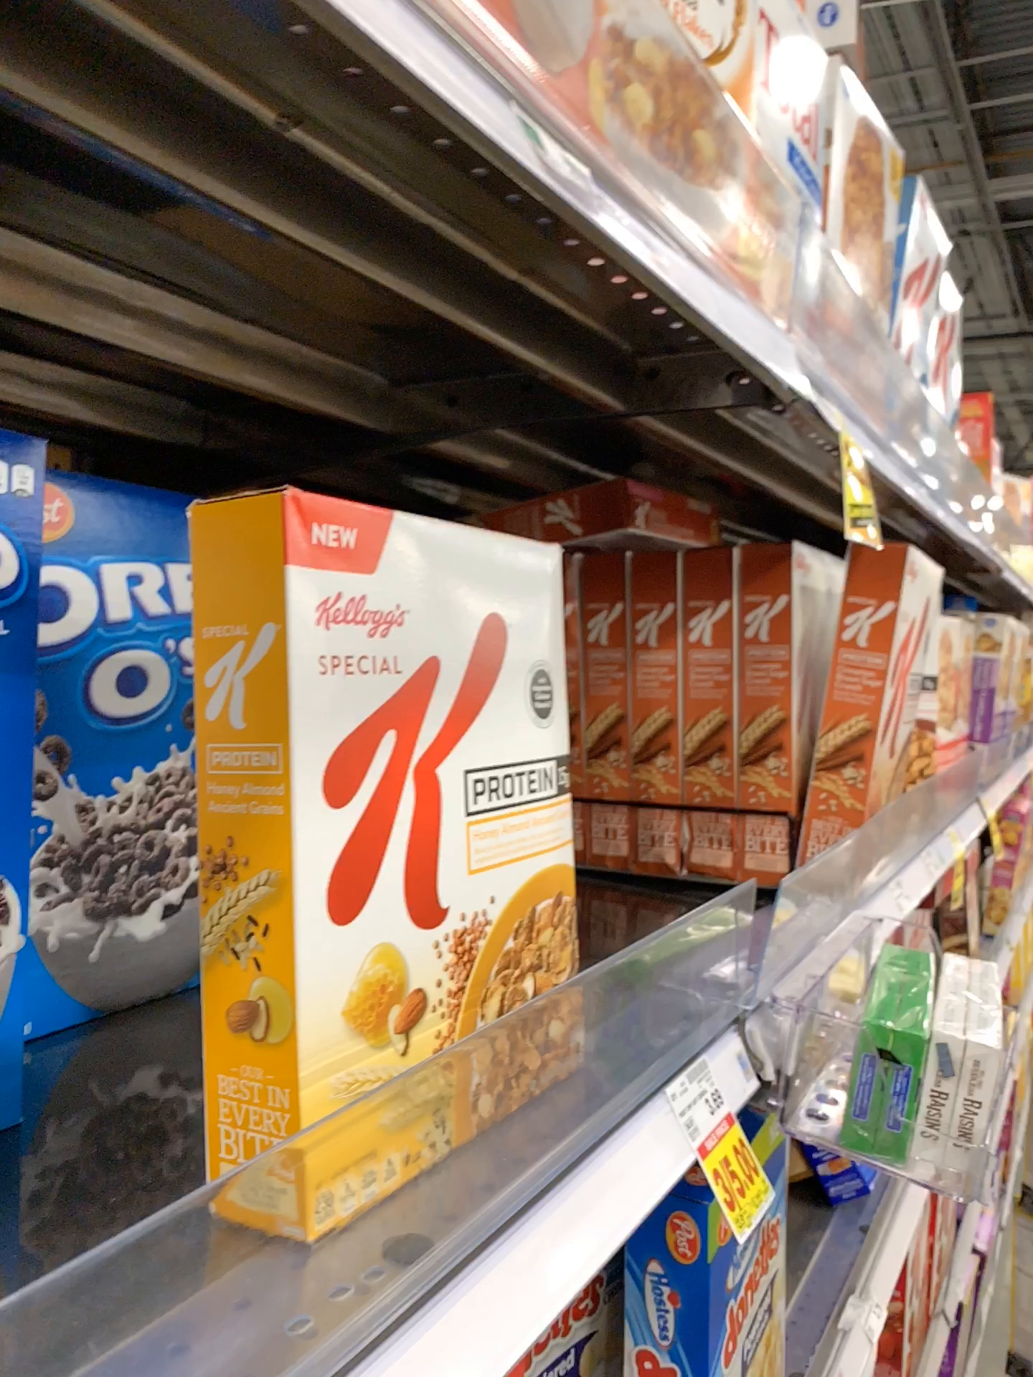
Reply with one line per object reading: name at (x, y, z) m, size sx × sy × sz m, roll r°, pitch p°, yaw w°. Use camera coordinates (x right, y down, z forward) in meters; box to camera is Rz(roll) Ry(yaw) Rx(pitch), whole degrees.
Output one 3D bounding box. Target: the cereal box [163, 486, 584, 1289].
cereal box at (-0.043, 0.060, 0.430) m, size 0.040 × 0.250 × 0.200 m, roll -3°, pitch -1°, yaw 32°
